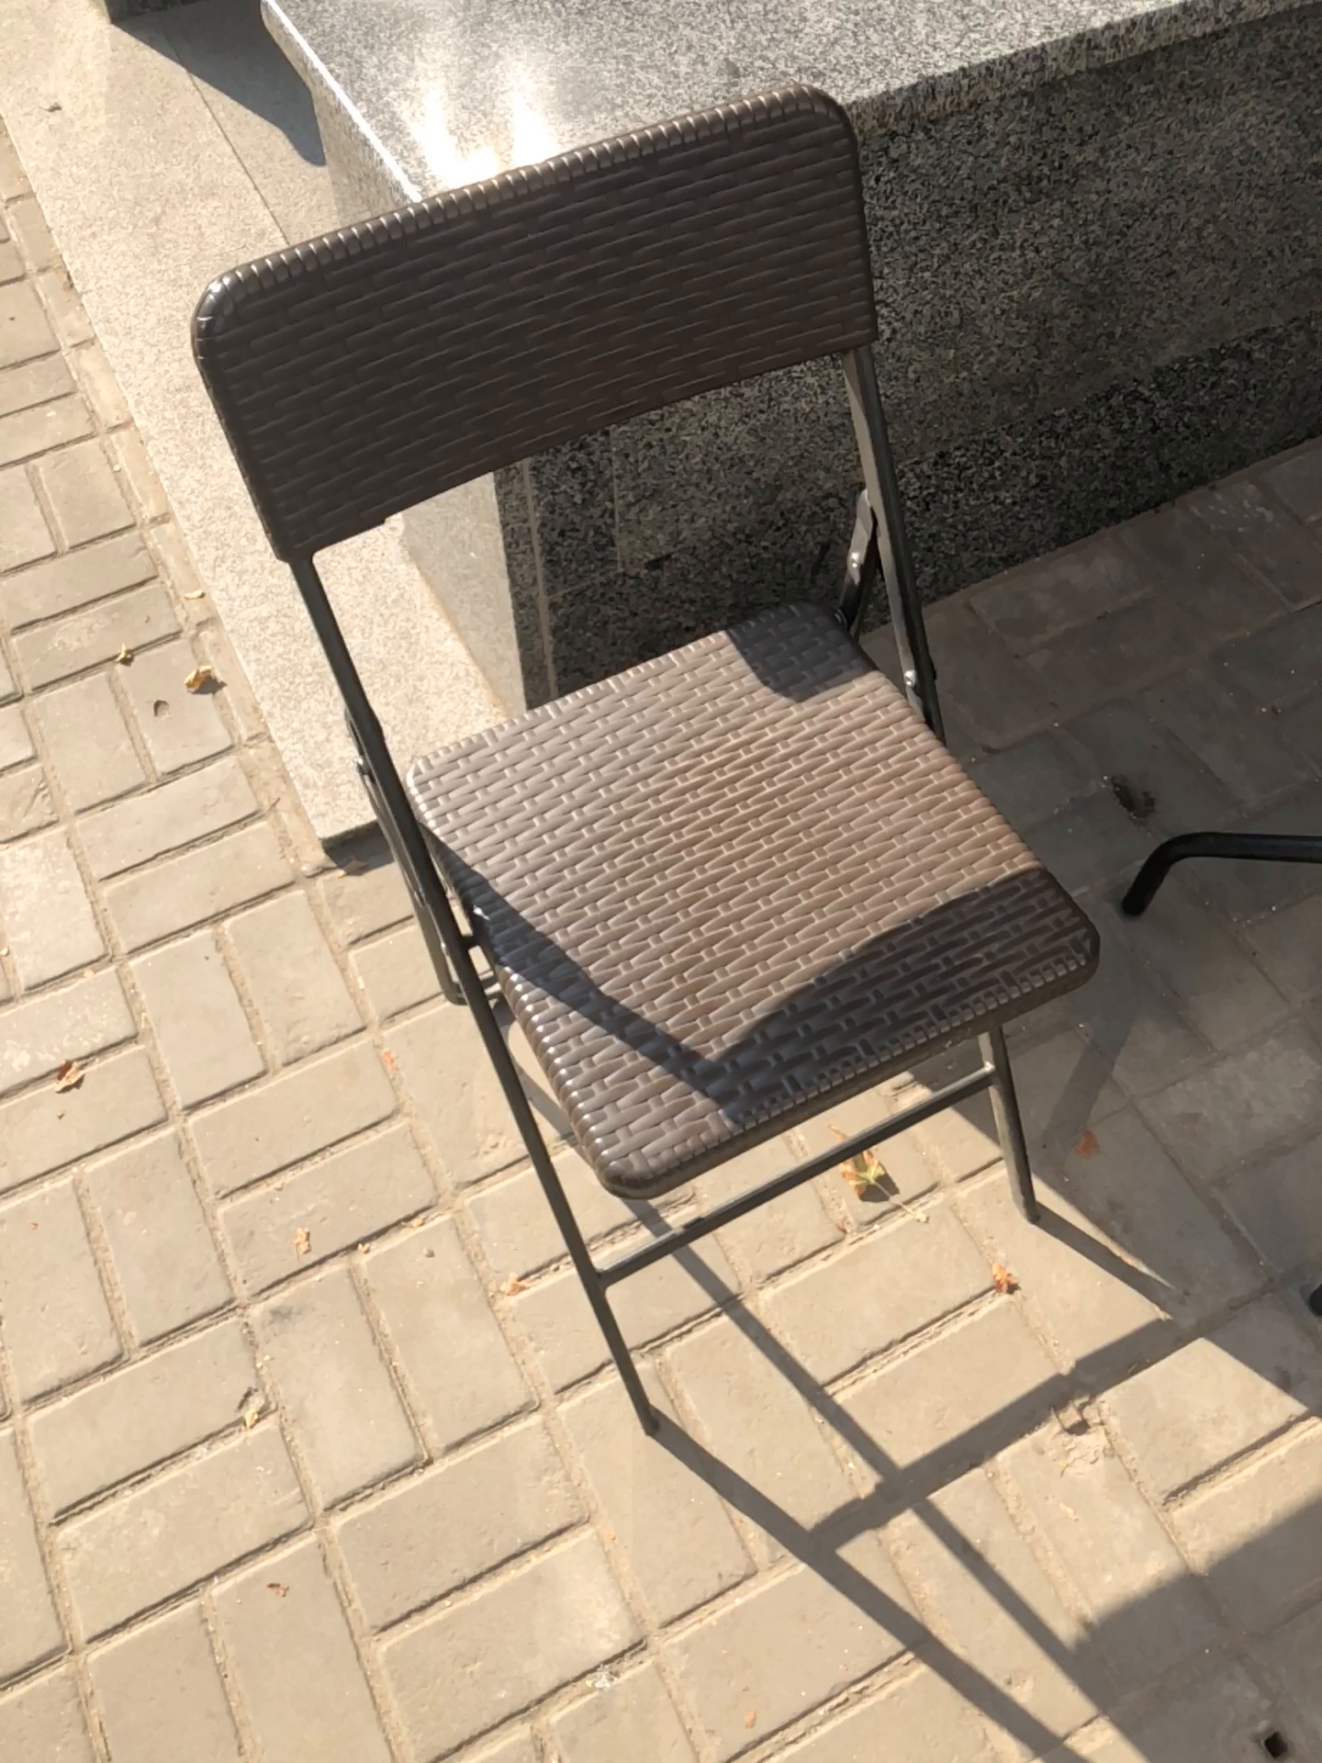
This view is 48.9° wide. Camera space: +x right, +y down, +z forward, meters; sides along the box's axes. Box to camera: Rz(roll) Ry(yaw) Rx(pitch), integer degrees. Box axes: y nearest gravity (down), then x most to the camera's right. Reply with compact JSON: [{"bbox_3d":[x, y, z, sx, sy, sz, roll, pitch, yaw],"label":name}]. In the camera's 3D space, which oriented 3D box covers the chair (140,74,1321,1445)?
[{"bbox_3d":[0.026,-0.019,1.040,0.430,0.778,0.481,-24,59,-15],"label":"chair"}]
